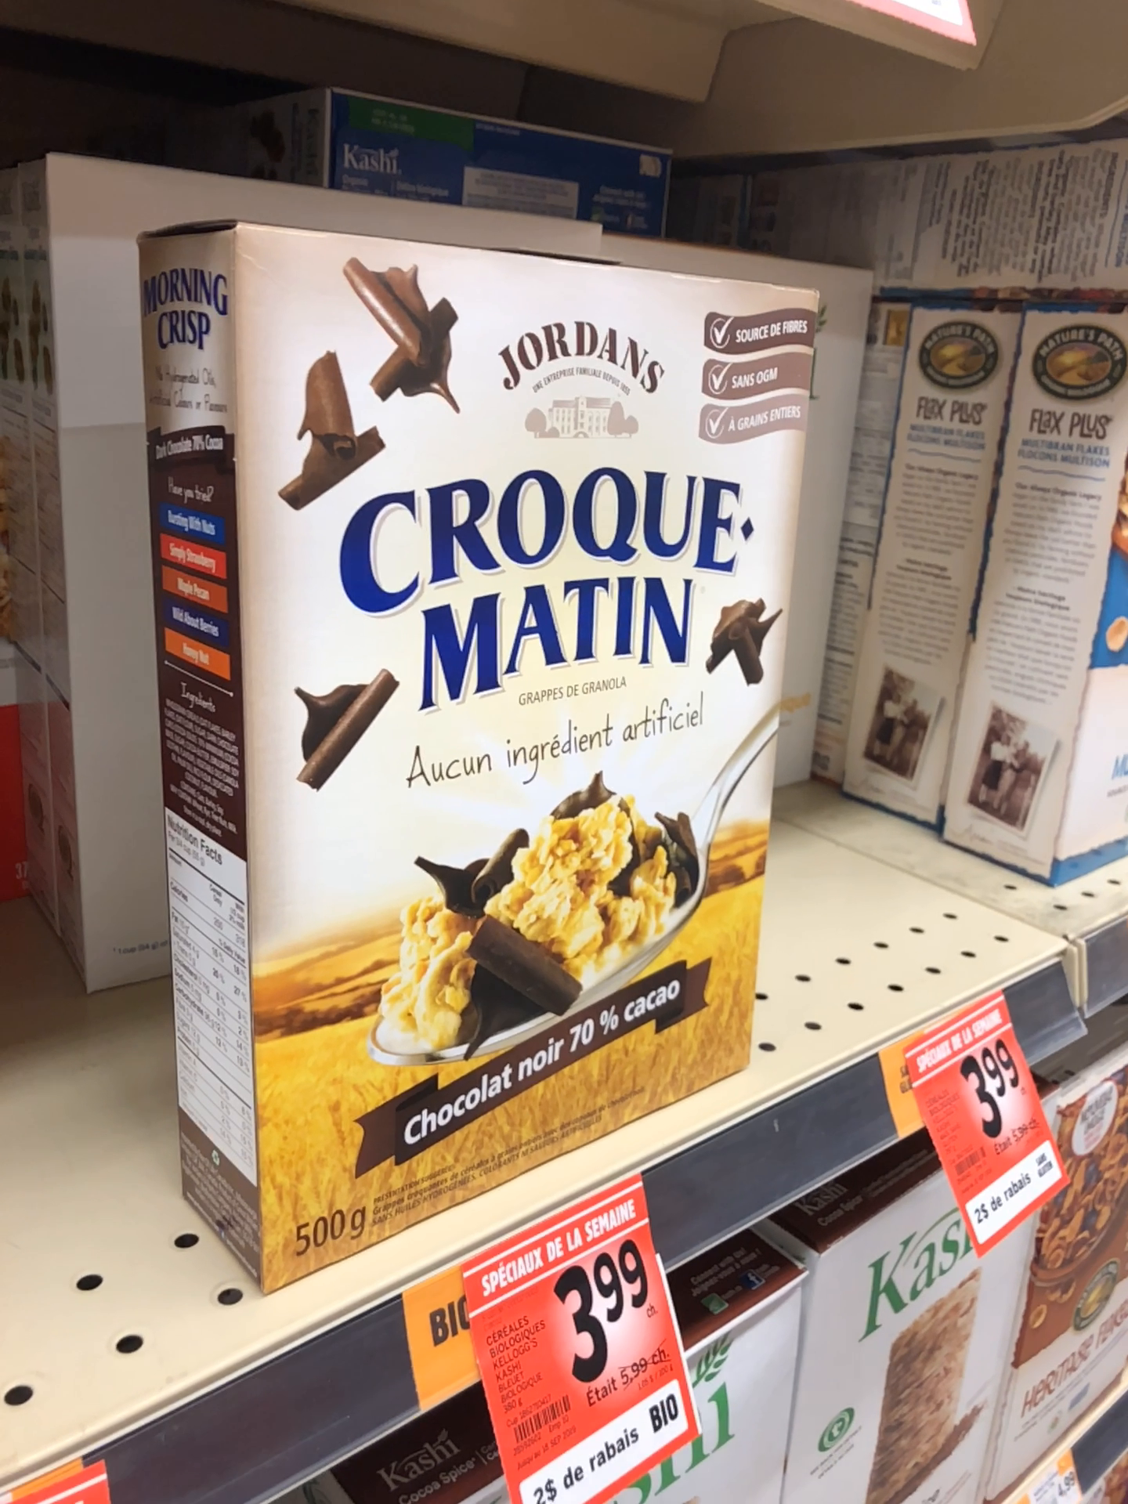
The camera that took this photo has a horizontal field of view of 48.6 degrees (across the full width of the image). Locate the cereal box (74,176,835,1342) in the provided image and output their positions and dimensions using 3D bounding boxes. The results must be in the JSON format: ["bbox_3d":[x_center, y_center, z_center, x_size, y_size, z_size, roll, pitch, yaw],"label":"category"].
[{"bbox_3d":[-0.018,-0.004,0.335,0.190,0.249,0.050,-12,21,-40],"label":"cereal box"}]
